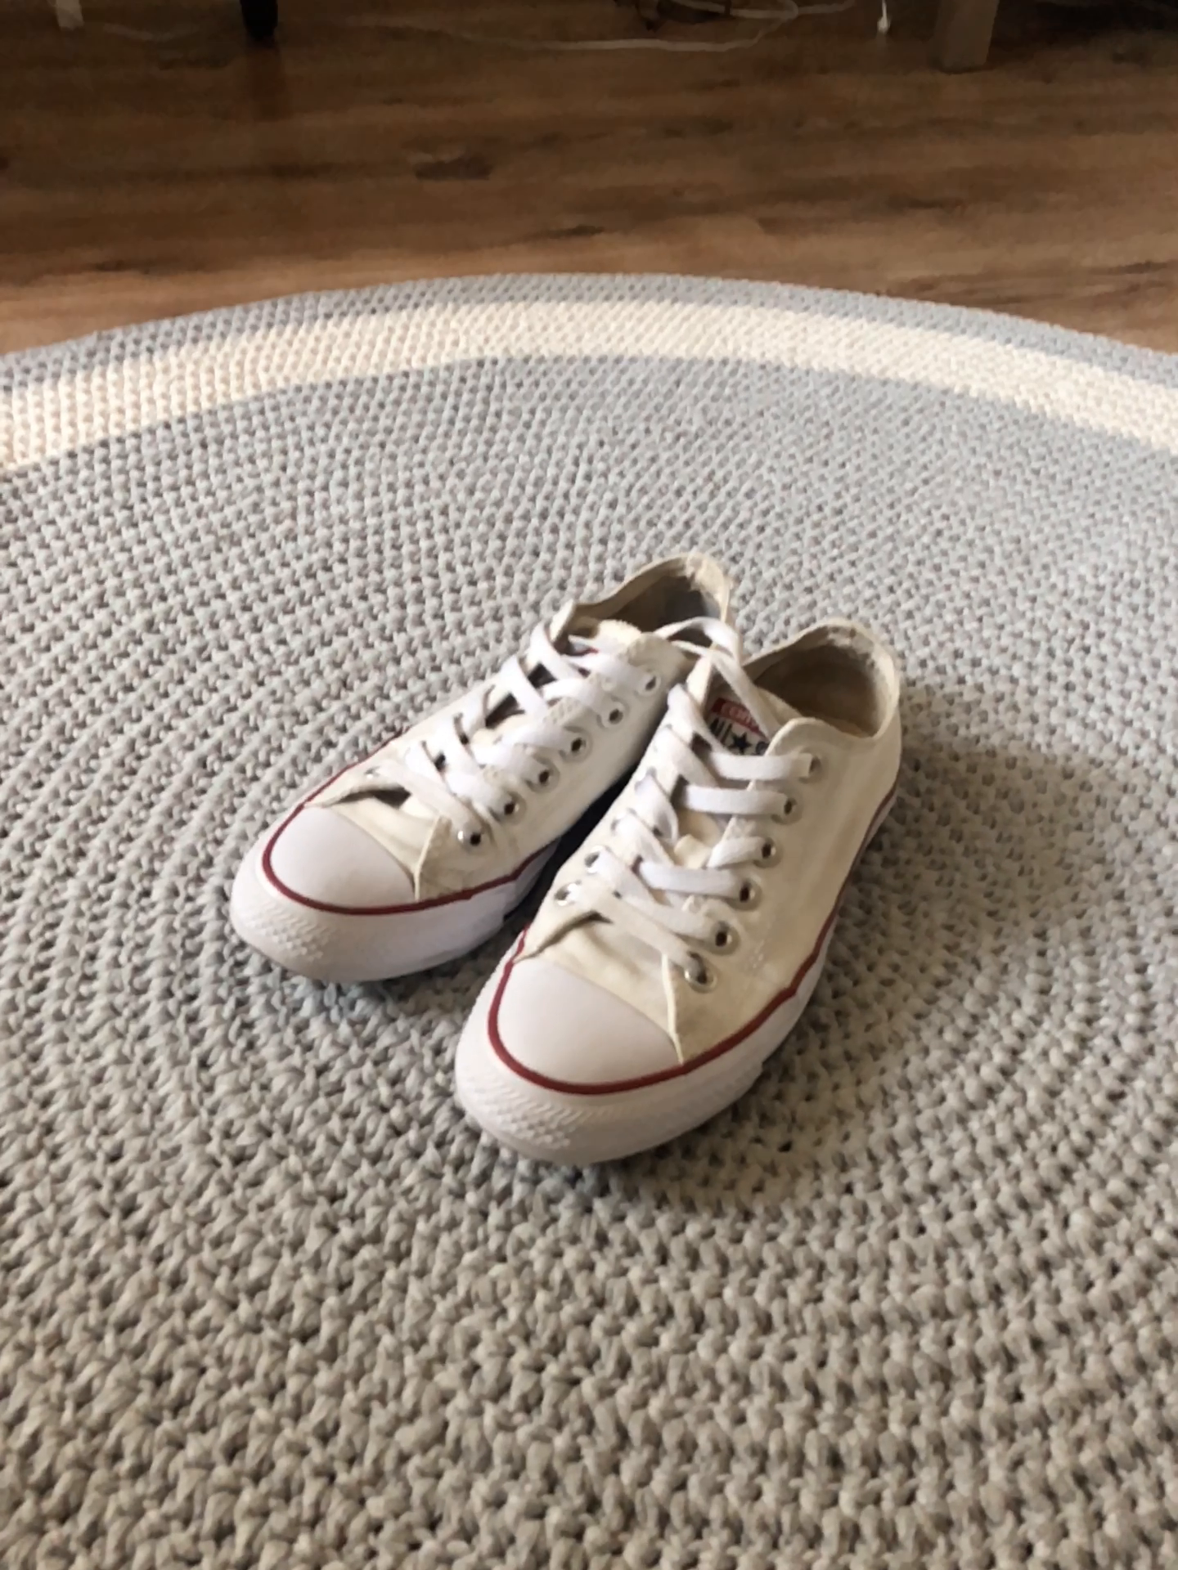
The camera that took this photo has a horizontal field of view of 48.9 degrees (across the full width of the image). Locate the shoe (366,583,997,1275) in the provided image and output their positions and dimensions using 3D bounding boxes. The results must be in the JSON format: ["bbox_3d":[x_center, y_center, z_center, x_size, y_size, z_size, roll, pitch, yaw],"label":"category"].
[{"bbox_3d":[0.043,0.030,0.446,0.100,0.070,0.241,25,46,22],"label":"shoe"}]

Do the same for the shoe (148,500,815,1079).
[{"bbox_3d":[-0.027,-0.015,0.493,0.100,0.070,0.248,30,48,27],"label":"shoe"}]
